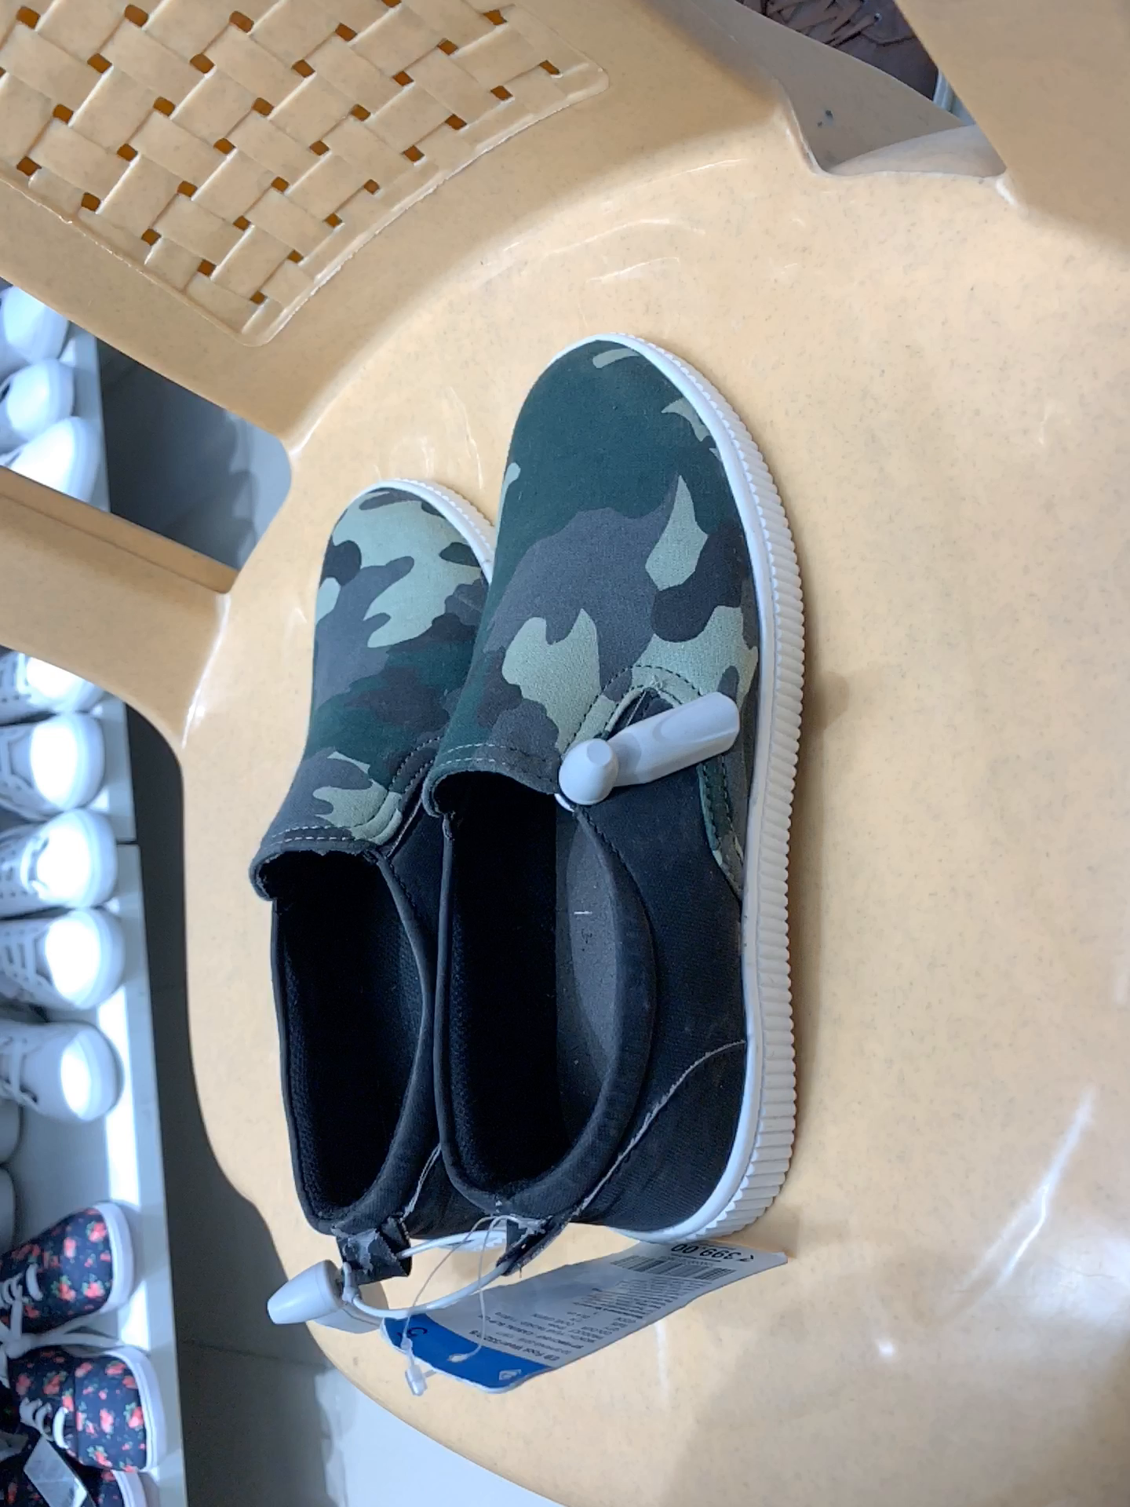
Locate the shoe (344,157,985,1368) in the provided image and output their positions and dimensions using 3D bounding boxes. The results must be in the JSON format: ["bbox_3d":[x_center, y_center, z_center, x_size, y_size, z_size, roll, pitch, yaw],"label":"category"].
[{"bbox_3d":[0.019,0.003,0.290,0.091,0.099,0.240,-17,72,41],"label":"shoe"}]

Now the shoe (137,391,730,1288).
[{"bbox_3d":[-0.045,0.025,0.345,0.091,0.099,0.220,-27,70,39],"label":"shoe"}]
